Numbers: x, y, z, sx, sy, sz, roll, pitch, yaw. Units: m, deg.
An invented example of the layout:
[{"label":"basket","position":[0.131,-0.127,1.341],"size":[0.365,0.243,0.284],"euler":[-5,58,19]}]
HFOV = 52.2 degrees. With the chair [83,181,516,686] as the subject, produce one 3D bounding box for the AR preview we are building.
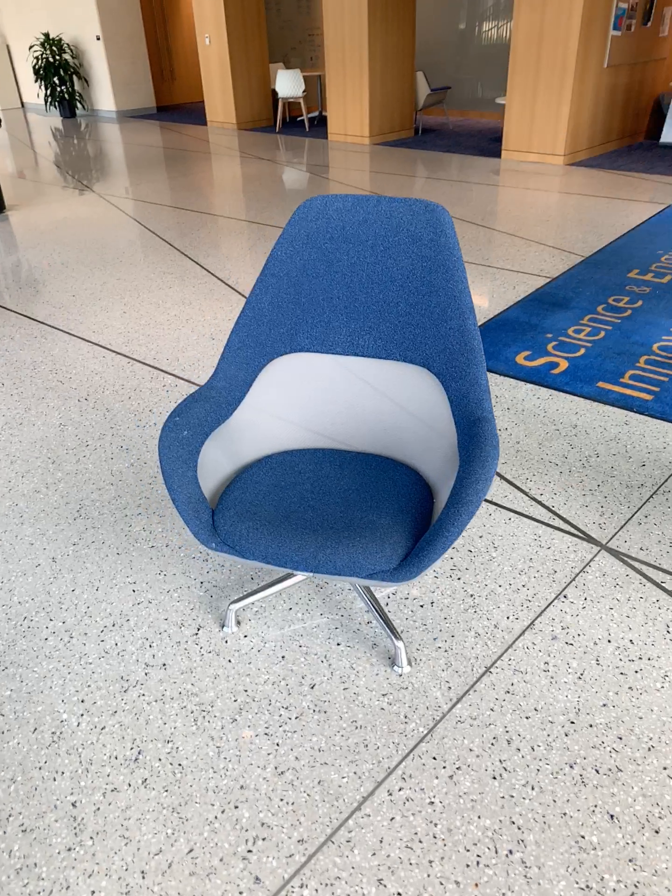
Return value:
[{"label":"chair","position":[0.006,-0.103,1.749],"size":[0.725,0.933,0.790],"euler":[8,33,16]}]
